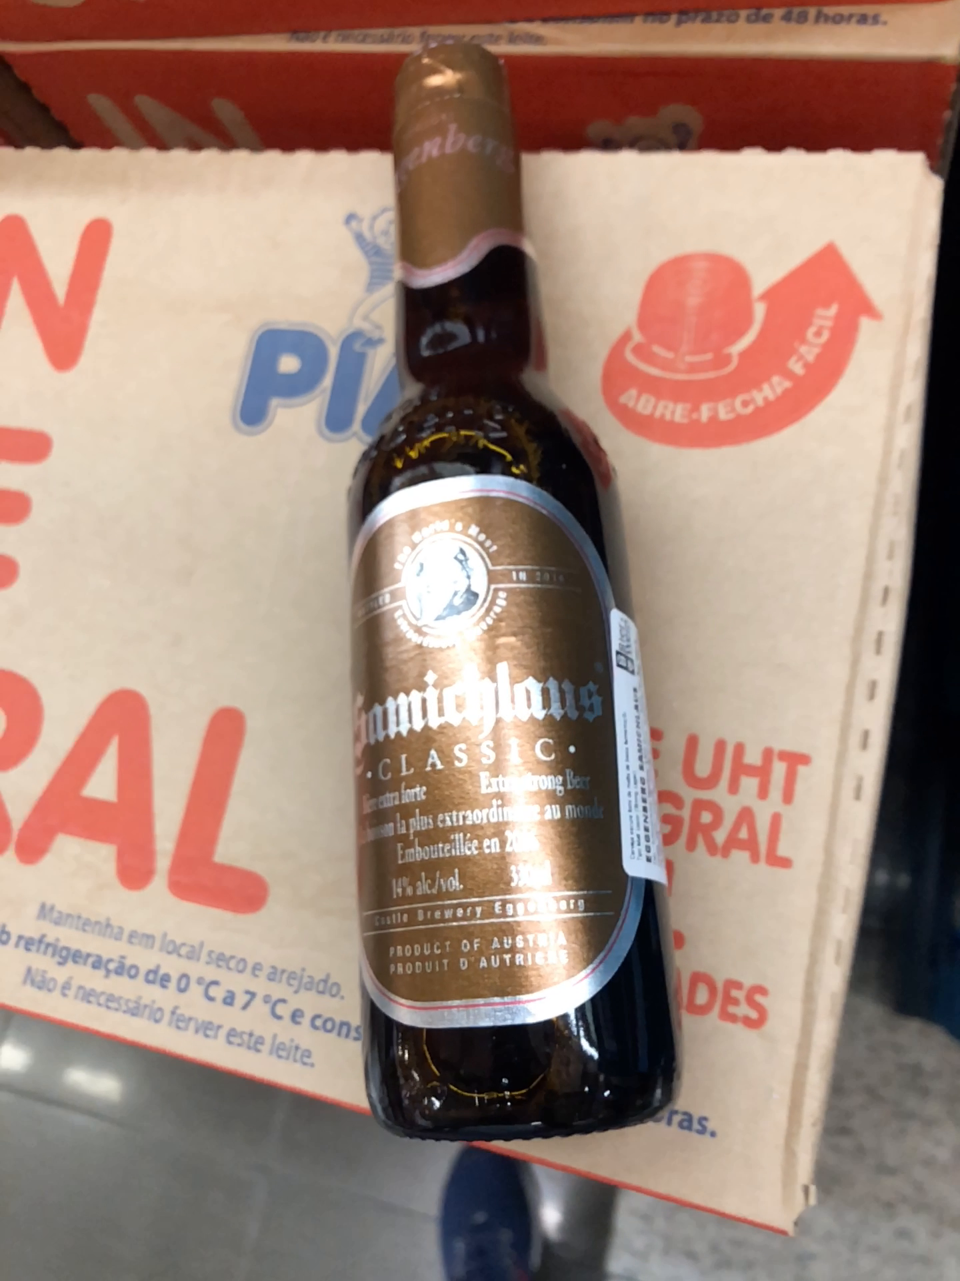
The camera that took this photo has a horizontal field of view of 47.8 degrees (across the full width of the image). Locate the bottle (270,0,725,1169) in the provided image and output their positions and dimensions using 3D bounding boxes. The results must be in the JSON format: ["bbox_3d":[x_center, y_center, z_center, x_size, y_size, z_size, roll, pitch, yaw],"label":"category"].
[{"bbox_3d":[-0.001,-0.037,0.218,0.060,0.050,0.250,-9,73,13],"label":"bottle"}]
